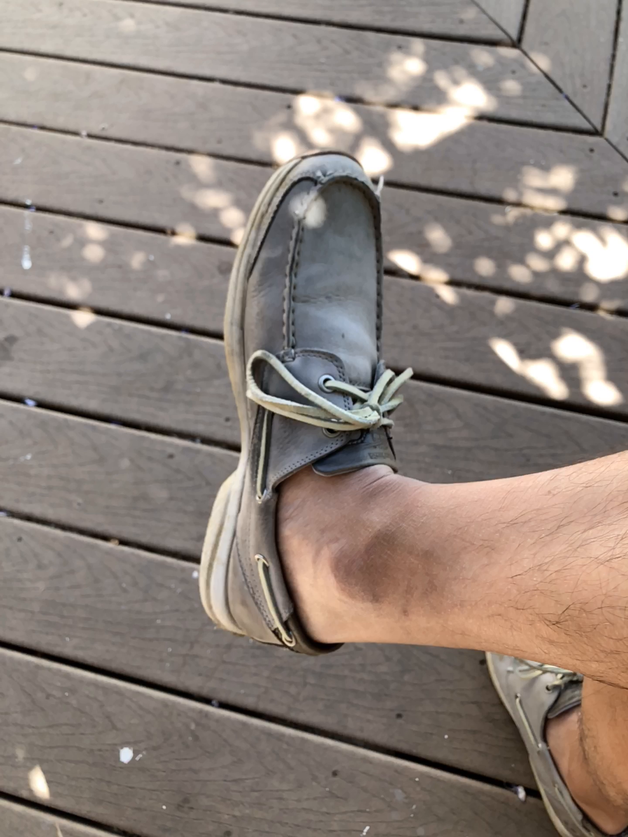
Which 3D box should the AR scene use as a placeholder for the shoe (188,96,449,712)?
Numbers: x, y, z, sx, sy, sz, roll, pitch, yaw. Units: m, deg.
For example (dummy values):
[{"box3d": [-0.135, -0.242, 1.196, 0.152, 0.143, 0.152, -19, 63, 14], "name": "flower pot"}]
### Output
[{"box3d": [0.004, -0.007, 0.439, 0.083, 0.116, 0.326, 6, 93, 43], "name": "shoe"}]
